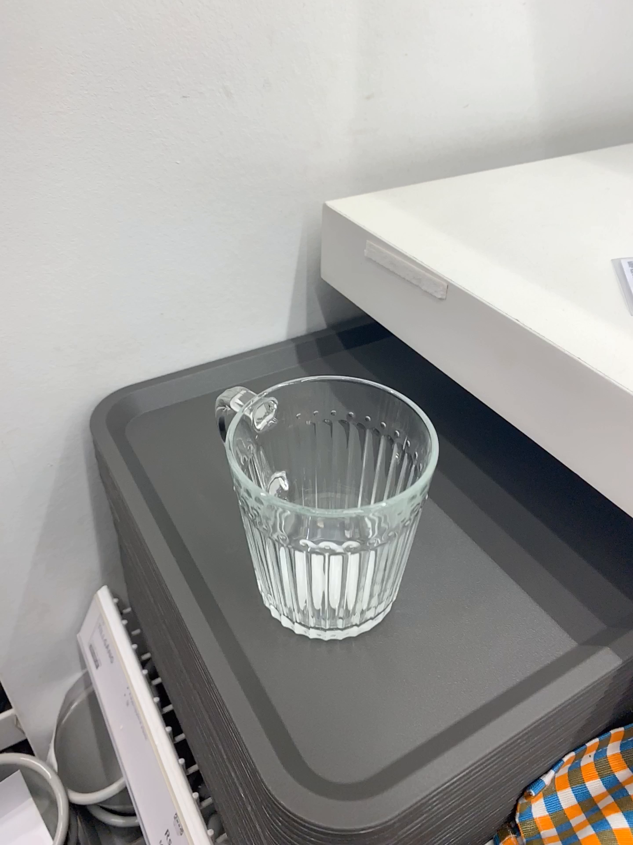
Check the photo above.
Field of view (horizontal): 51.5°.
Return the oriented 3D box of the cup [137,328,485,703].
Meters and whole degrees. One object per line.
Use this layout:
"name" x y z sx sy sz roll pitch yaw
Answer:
"cup" -0.007 0.030 0.272 0.080 0.080 0.110 -25 45 -31
